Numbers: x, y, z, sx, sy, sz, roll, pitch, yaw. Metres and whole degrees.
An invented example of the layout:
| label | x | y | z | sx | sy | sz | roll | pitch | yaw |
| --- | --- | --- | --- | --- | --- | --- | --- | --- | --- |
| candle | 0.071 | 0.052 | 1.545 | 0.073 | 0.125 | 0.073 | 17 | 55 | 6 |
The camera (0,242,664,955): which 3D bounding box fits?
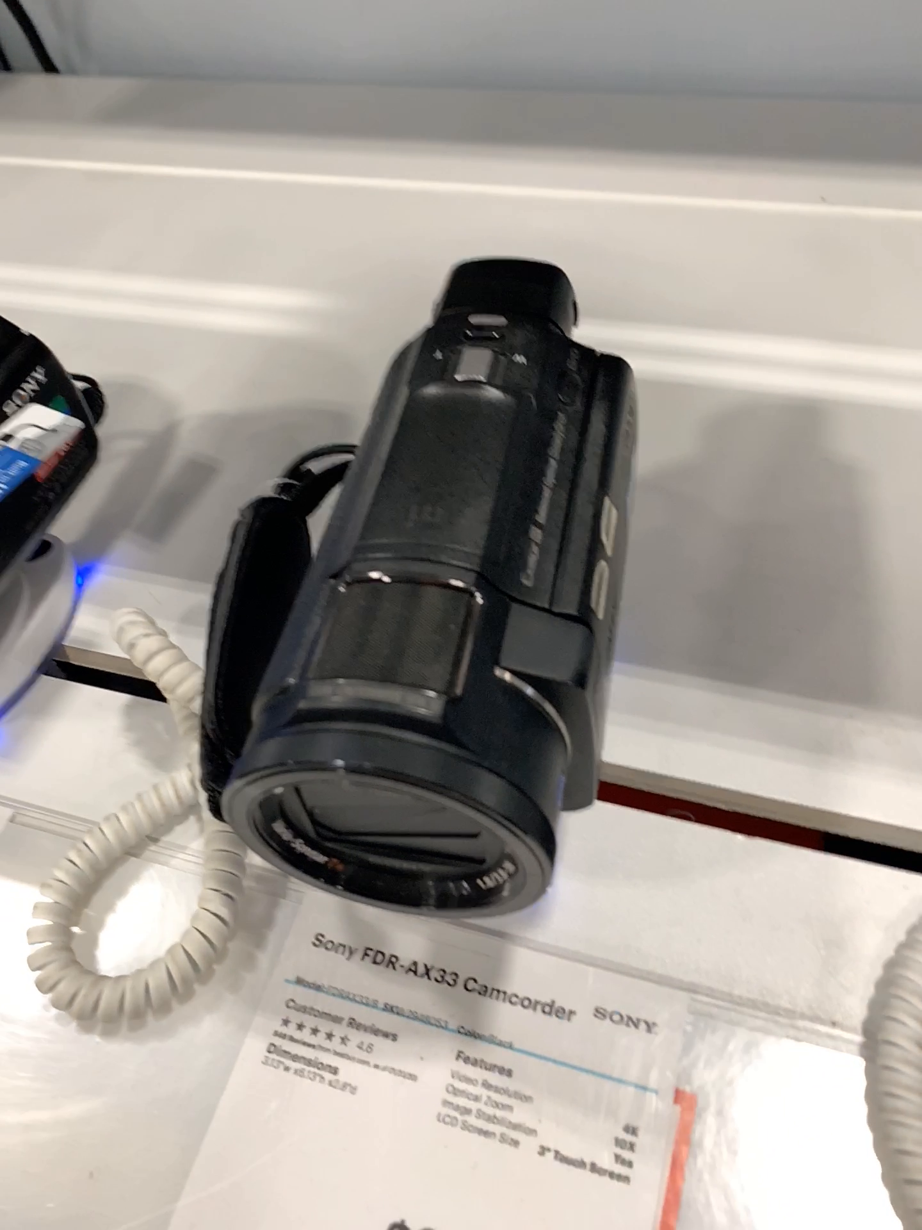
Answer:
| label | x | y | z | sx | sy | sz | roll | pitch | yaw |
| --- | --- | --- | --- | --- | --- | --- | --- | --- | --- |
| camera | -0.015 | -0.012 | 0.213 | 0.102 | 0.067 | 0.136 | 7 | 54 | 12 |
